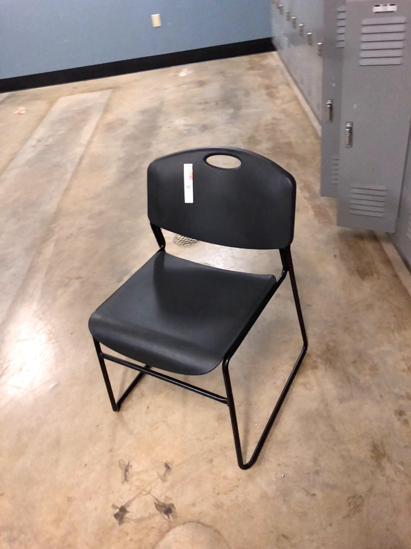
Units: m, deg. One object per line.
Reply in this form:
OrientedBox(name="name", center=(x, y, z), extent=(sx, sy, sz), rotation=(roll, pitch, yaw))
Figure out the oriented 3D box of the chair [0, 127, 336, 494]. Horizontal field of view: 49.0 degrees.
OrientedBox(name="chair", center=(-0.018, 0.058, 1.200), extent=(0.545, 0.665, 0.548), rotation=(14, 45, 28))
